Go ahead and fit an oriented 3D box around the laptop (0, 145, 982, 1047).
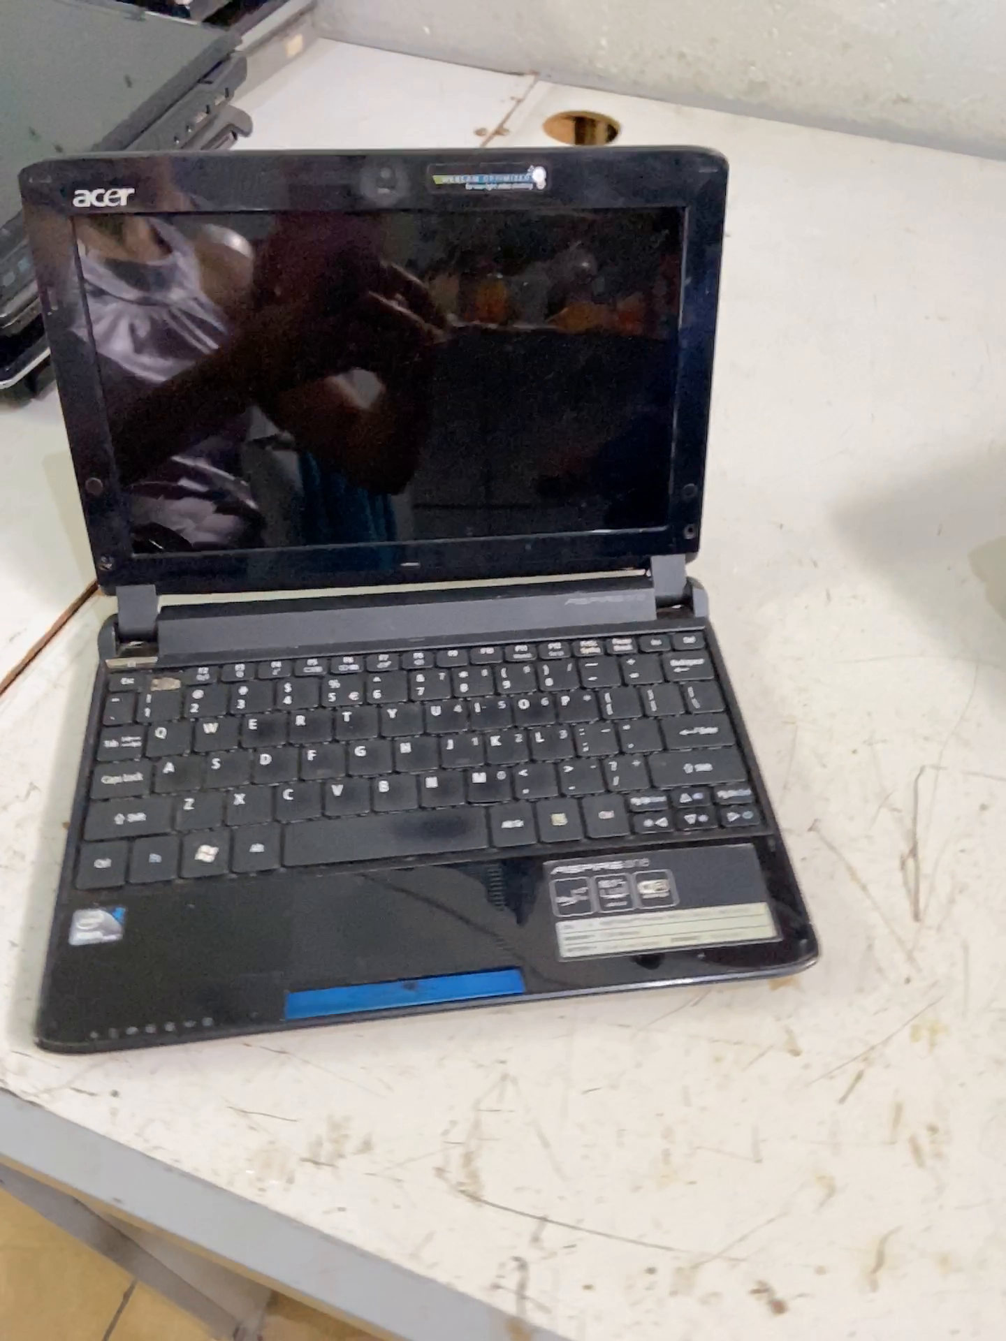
[{"bbox_3d":[-0.033,-0.041,0.356,0.252,0.144,0.260,-4,52,-5],"label":"laptop"}]
